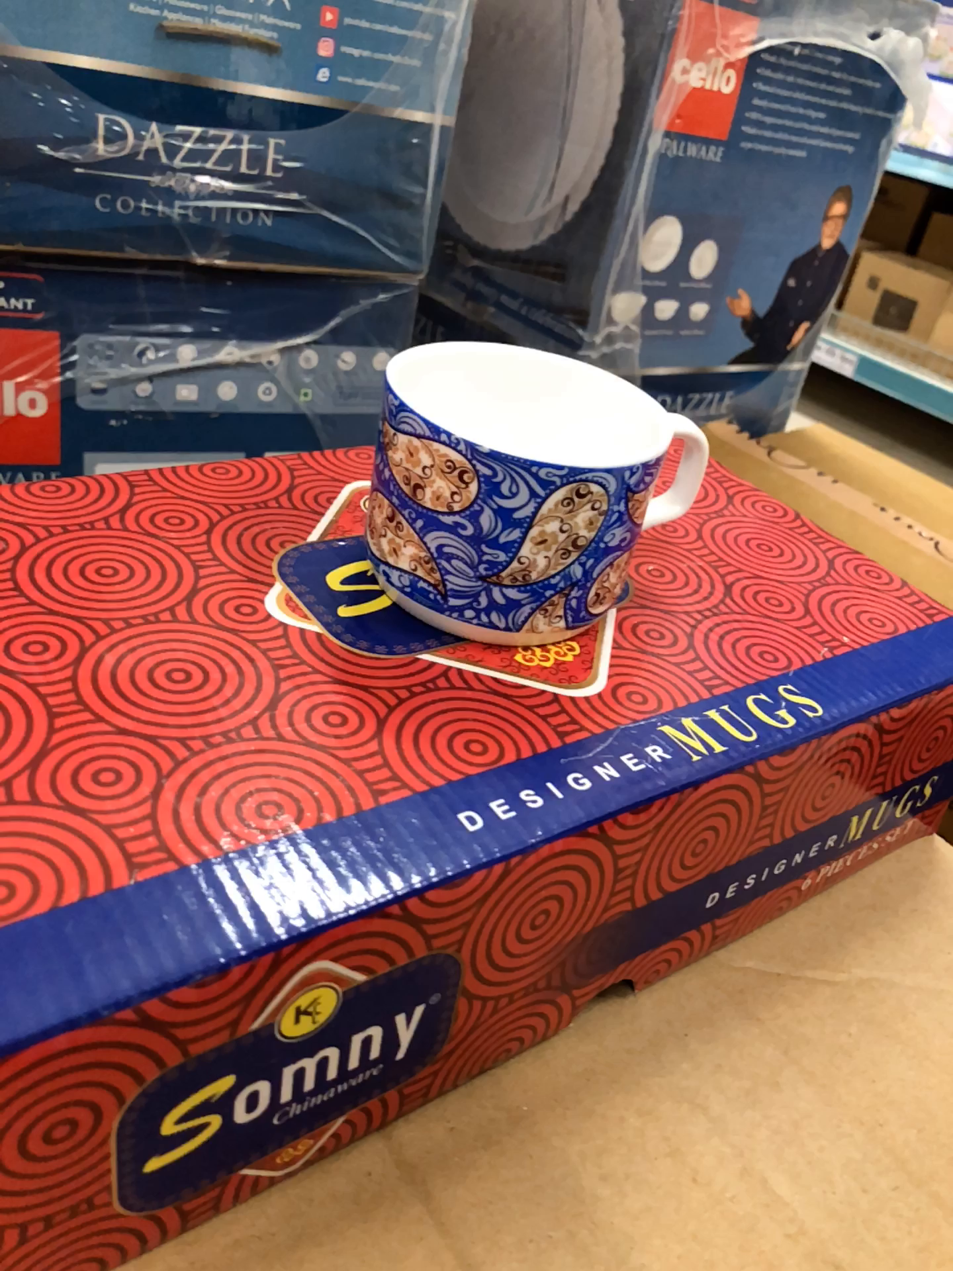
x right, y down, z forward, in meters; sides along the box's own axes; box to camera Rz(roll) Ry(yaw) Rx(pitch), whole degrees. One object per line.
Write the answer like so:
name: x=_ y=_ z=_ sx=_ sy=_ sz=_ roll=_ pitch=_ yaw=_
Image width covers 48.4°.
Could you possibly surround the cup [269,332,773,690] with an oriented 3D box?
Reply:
cup: x=0.008 y=-0.036 z=0.276 sx=0.100 sy=0.060 sz=0.070 roll=-6 pitch=35 yaw=-30
